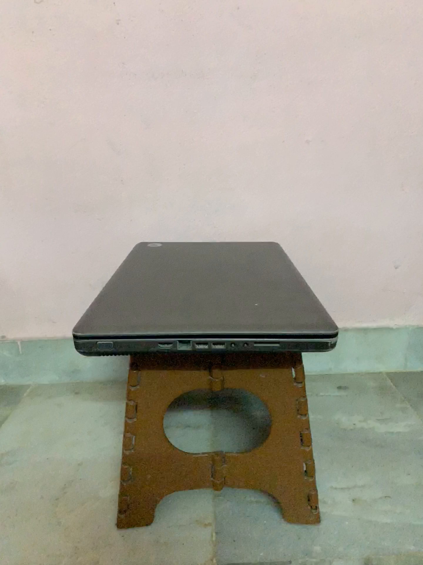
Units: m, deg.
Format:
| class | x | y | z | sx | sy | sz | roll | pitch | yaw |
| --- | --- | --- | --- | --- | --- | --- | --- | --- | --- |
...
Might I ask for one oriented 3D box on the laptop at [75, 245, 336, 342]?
| class | x | y | z | sx | sy | sz | roll | pitch | yaw |
| --- | --- | --- | --- | --- | --- | --- | --- | --- | --- |
| laptop | -0.005 | -0.005 | 0.581 | 0.242 | 0.003 | 0.380 | 0 | 18 | 0 |
